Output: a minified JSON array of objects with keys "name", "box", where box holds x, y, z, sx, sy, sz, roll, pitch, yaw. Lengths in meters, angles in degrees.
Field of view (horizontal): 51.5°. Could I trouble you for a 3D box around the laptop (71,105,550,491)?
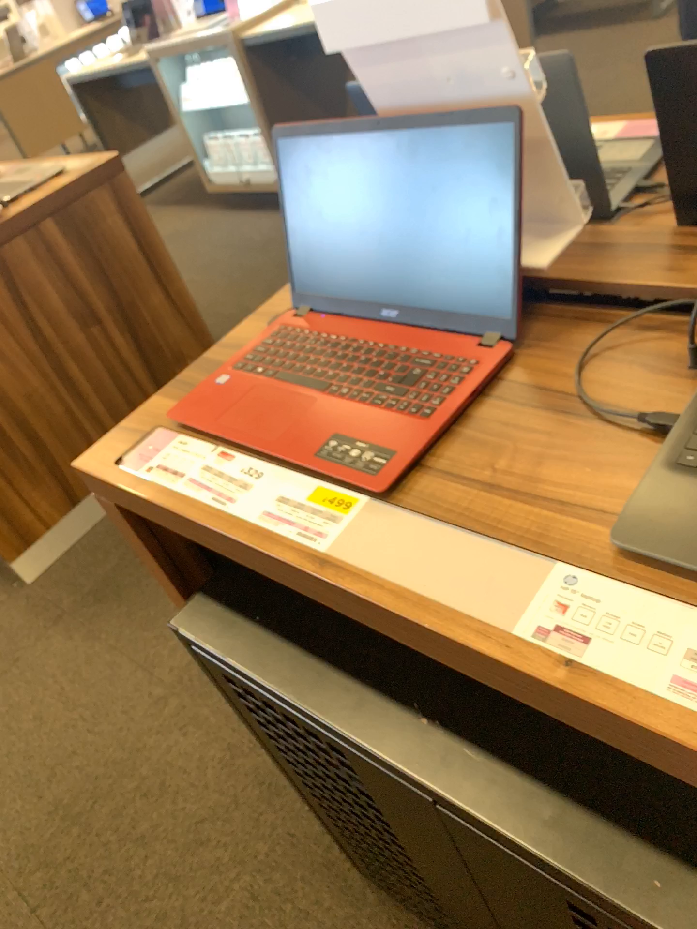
[{"name":"laptop","box":[-0.034,-0.200,0.791,0.357,0.213,0.322,18,53,40]}]
